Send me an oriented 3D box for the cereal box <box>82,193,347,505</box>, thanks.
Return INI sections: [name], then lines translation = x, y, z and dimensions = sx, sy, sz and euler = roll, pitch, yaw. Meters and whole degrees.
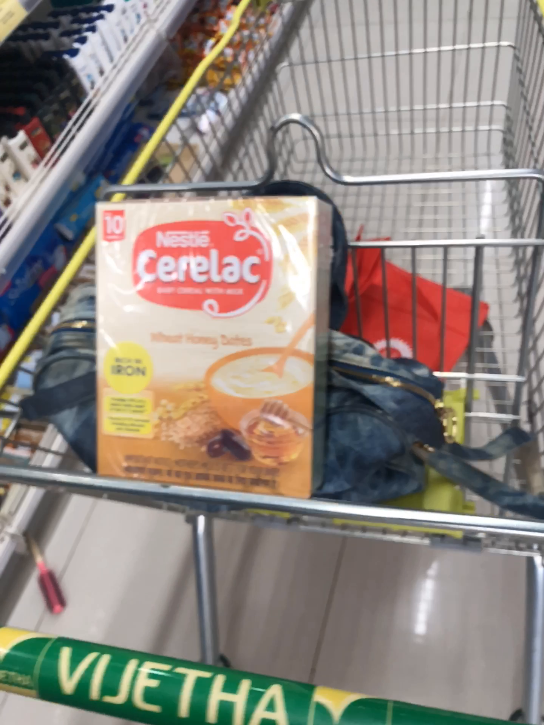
[cereal box]
translation = -0.040, -0.012, 0.423
dimensions = 0.170, 0.060, 0.190
euler = 2, 94, 16
